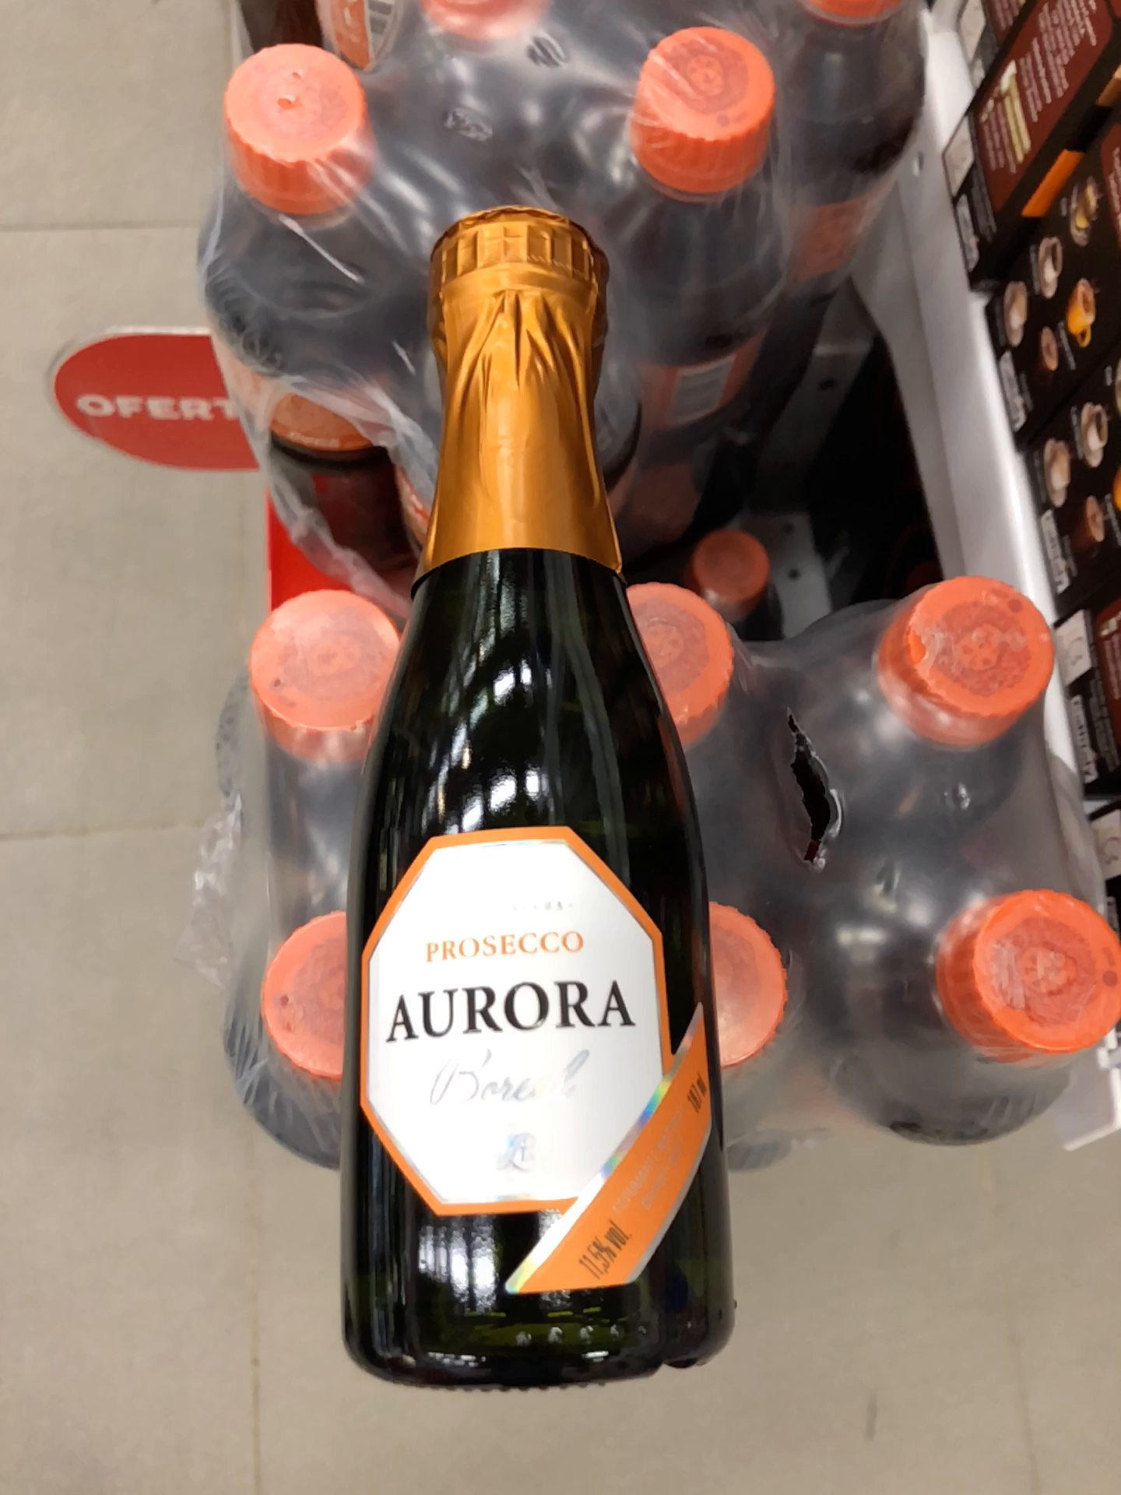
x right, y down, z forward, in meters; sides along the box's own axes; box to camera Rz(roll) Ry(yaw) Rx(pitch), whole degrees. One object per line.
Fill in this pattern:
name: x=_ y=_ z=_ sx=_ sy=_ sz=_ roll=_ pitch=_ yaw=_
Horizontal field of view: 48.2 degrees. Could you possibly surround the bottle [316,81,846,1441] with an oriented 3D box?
bottle: x=0.001 y=-0.004 z=0.188 sx=0.060 sy=0.050 sz=0.180 roll=1 pitch=76 yaw=-4
